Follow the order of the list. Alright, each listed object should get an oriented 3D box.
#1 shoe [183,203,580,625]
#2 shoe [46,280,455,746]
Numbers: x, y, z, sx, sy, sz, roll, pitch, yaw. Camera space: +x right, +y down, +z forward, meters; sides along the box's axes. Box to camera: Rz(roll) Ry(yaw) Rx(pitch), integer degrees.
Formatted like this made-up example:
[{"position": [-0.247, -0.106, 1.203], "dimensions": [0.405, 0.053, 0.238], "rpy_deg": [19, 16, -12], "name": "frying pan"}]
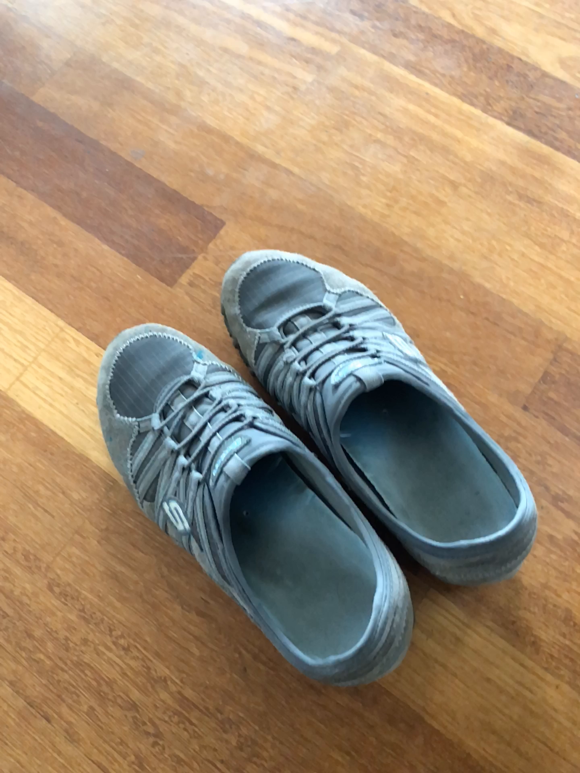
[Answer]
[{"position": [0.049, 0.019, 0.419], "dimensions": [0.093, 0.106, 0.250], "rpy_deg": [-37, 74, -10], "name": "shoe"}, {"position": [-0.029, 0.072, 0.408], "dimensions": [0.096, 0.106, 0.253], "rpy_deg": [-37, 74, -10], "name": "shoe"}]
